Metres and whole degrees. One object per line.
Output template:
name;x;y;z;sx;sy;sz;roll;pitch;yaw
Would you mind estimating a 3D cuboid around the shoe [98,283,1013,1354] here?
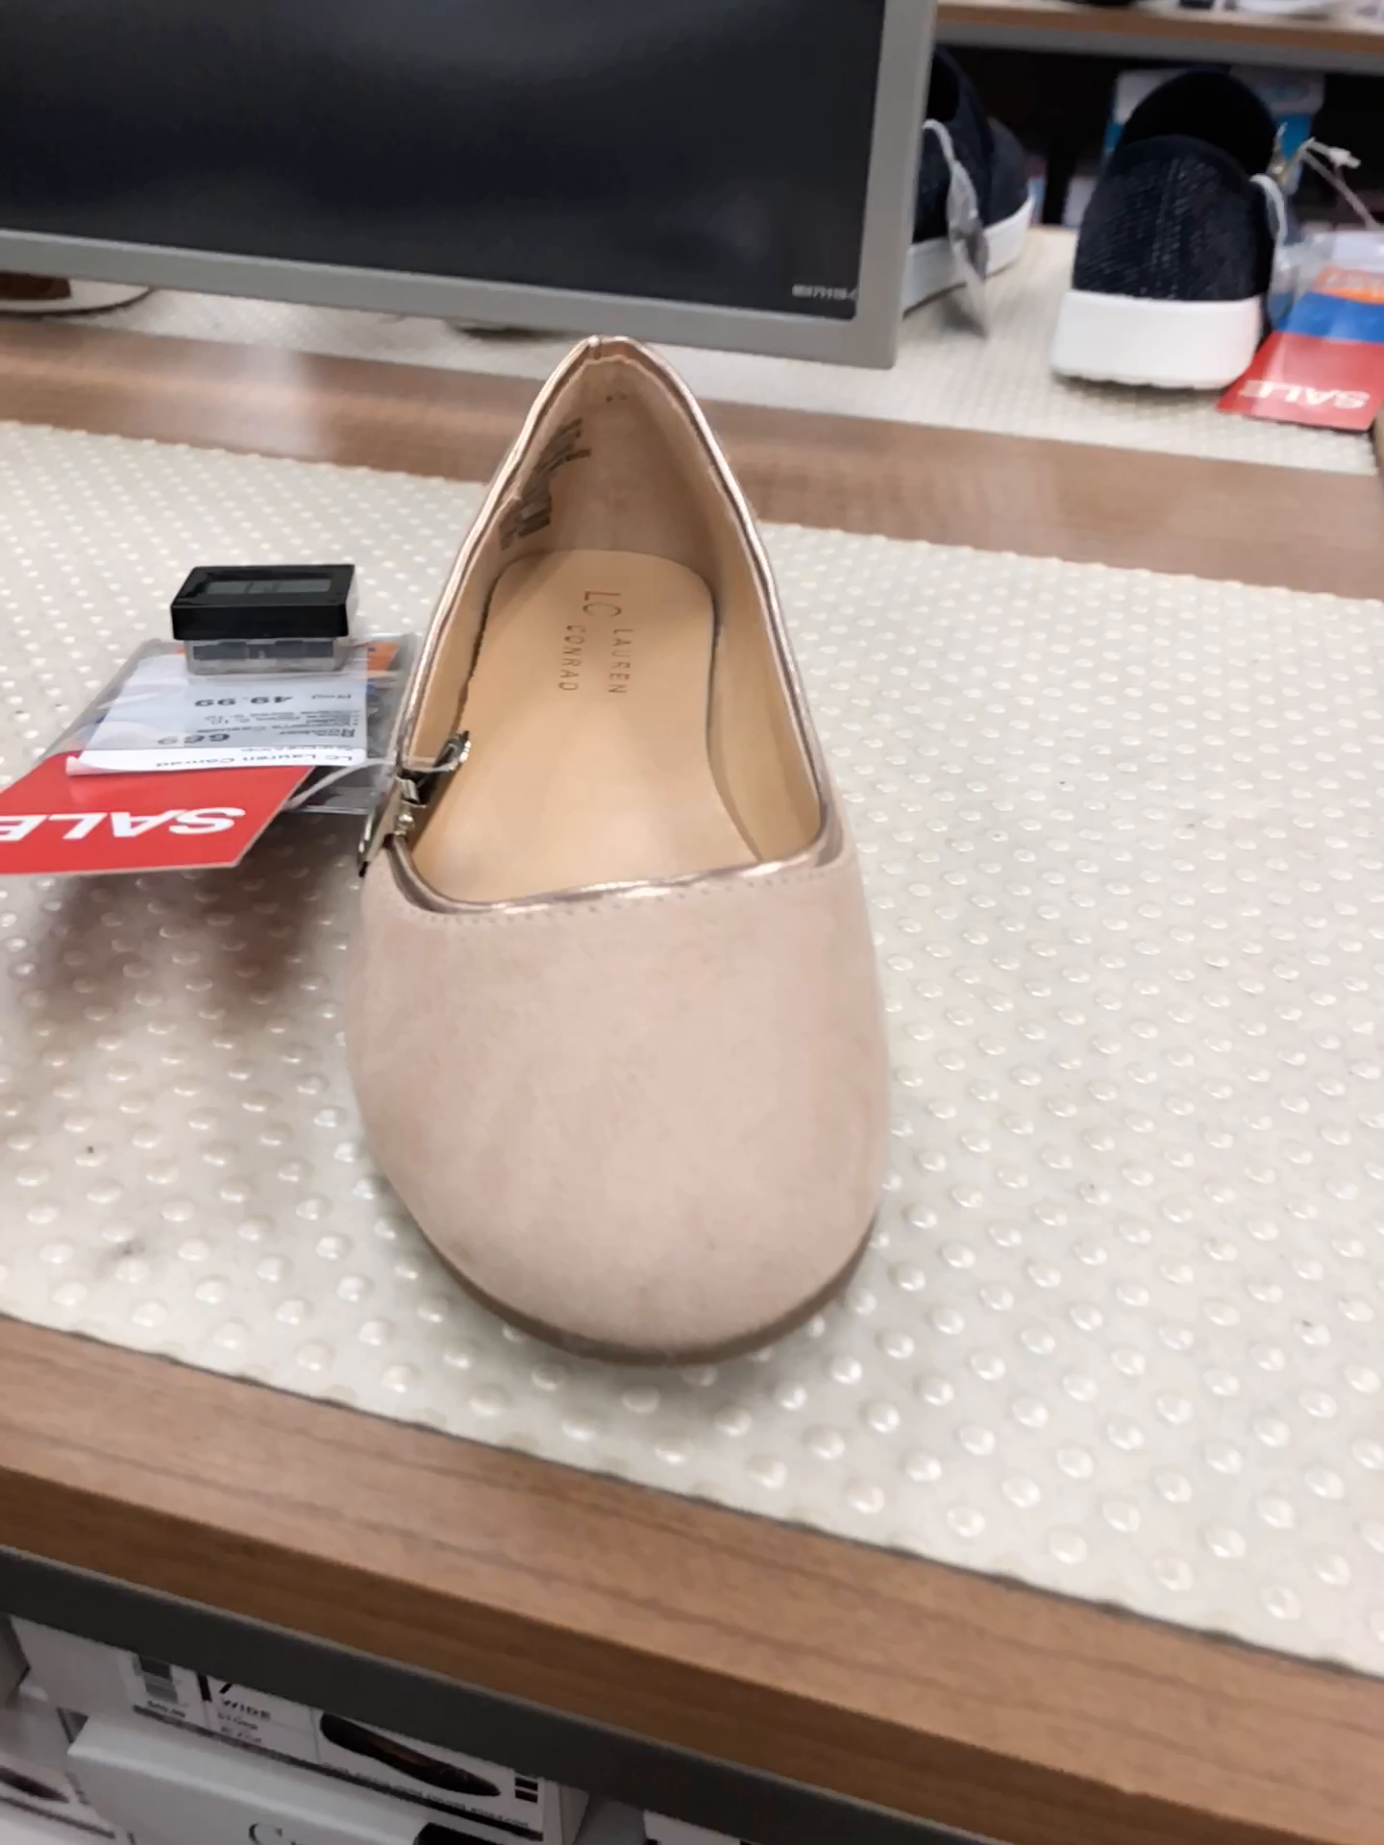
shoe;-0.018;-0.043;0.254;0.085;0.063;0.229;0;36;-3
